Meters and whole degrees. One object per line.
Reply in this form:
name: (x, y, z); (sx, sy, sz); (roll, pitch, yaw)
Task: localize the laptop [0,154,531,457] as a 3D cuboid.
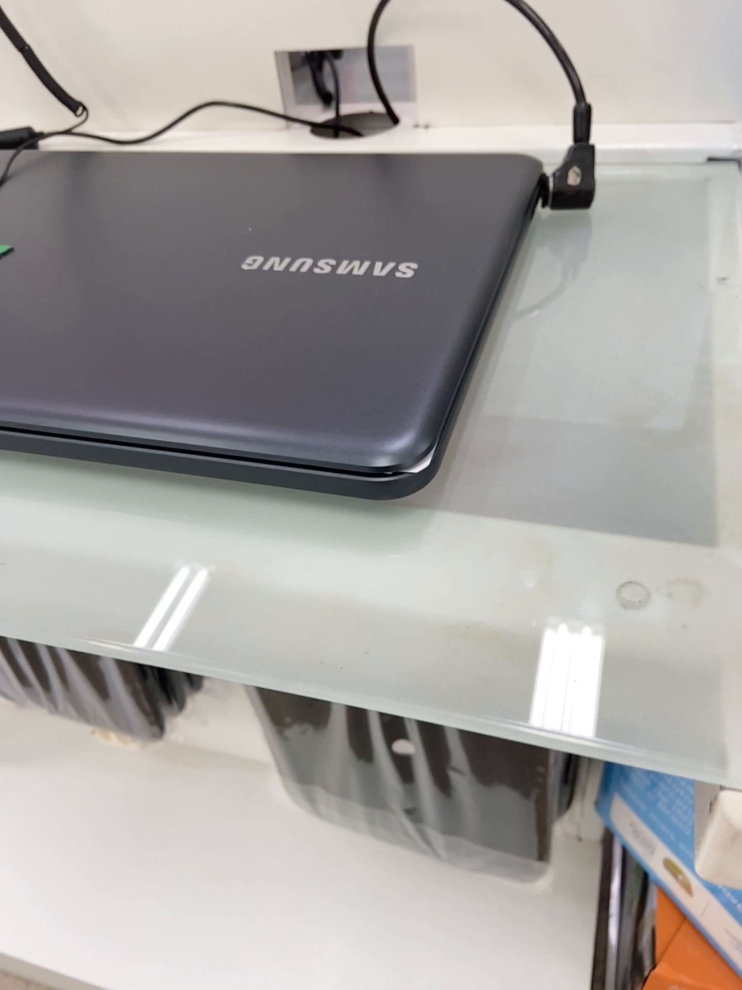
laptop: (-0.123, -0.110, 0.349); (0.351, 0.001, 0.233); (7, 44, 17)
